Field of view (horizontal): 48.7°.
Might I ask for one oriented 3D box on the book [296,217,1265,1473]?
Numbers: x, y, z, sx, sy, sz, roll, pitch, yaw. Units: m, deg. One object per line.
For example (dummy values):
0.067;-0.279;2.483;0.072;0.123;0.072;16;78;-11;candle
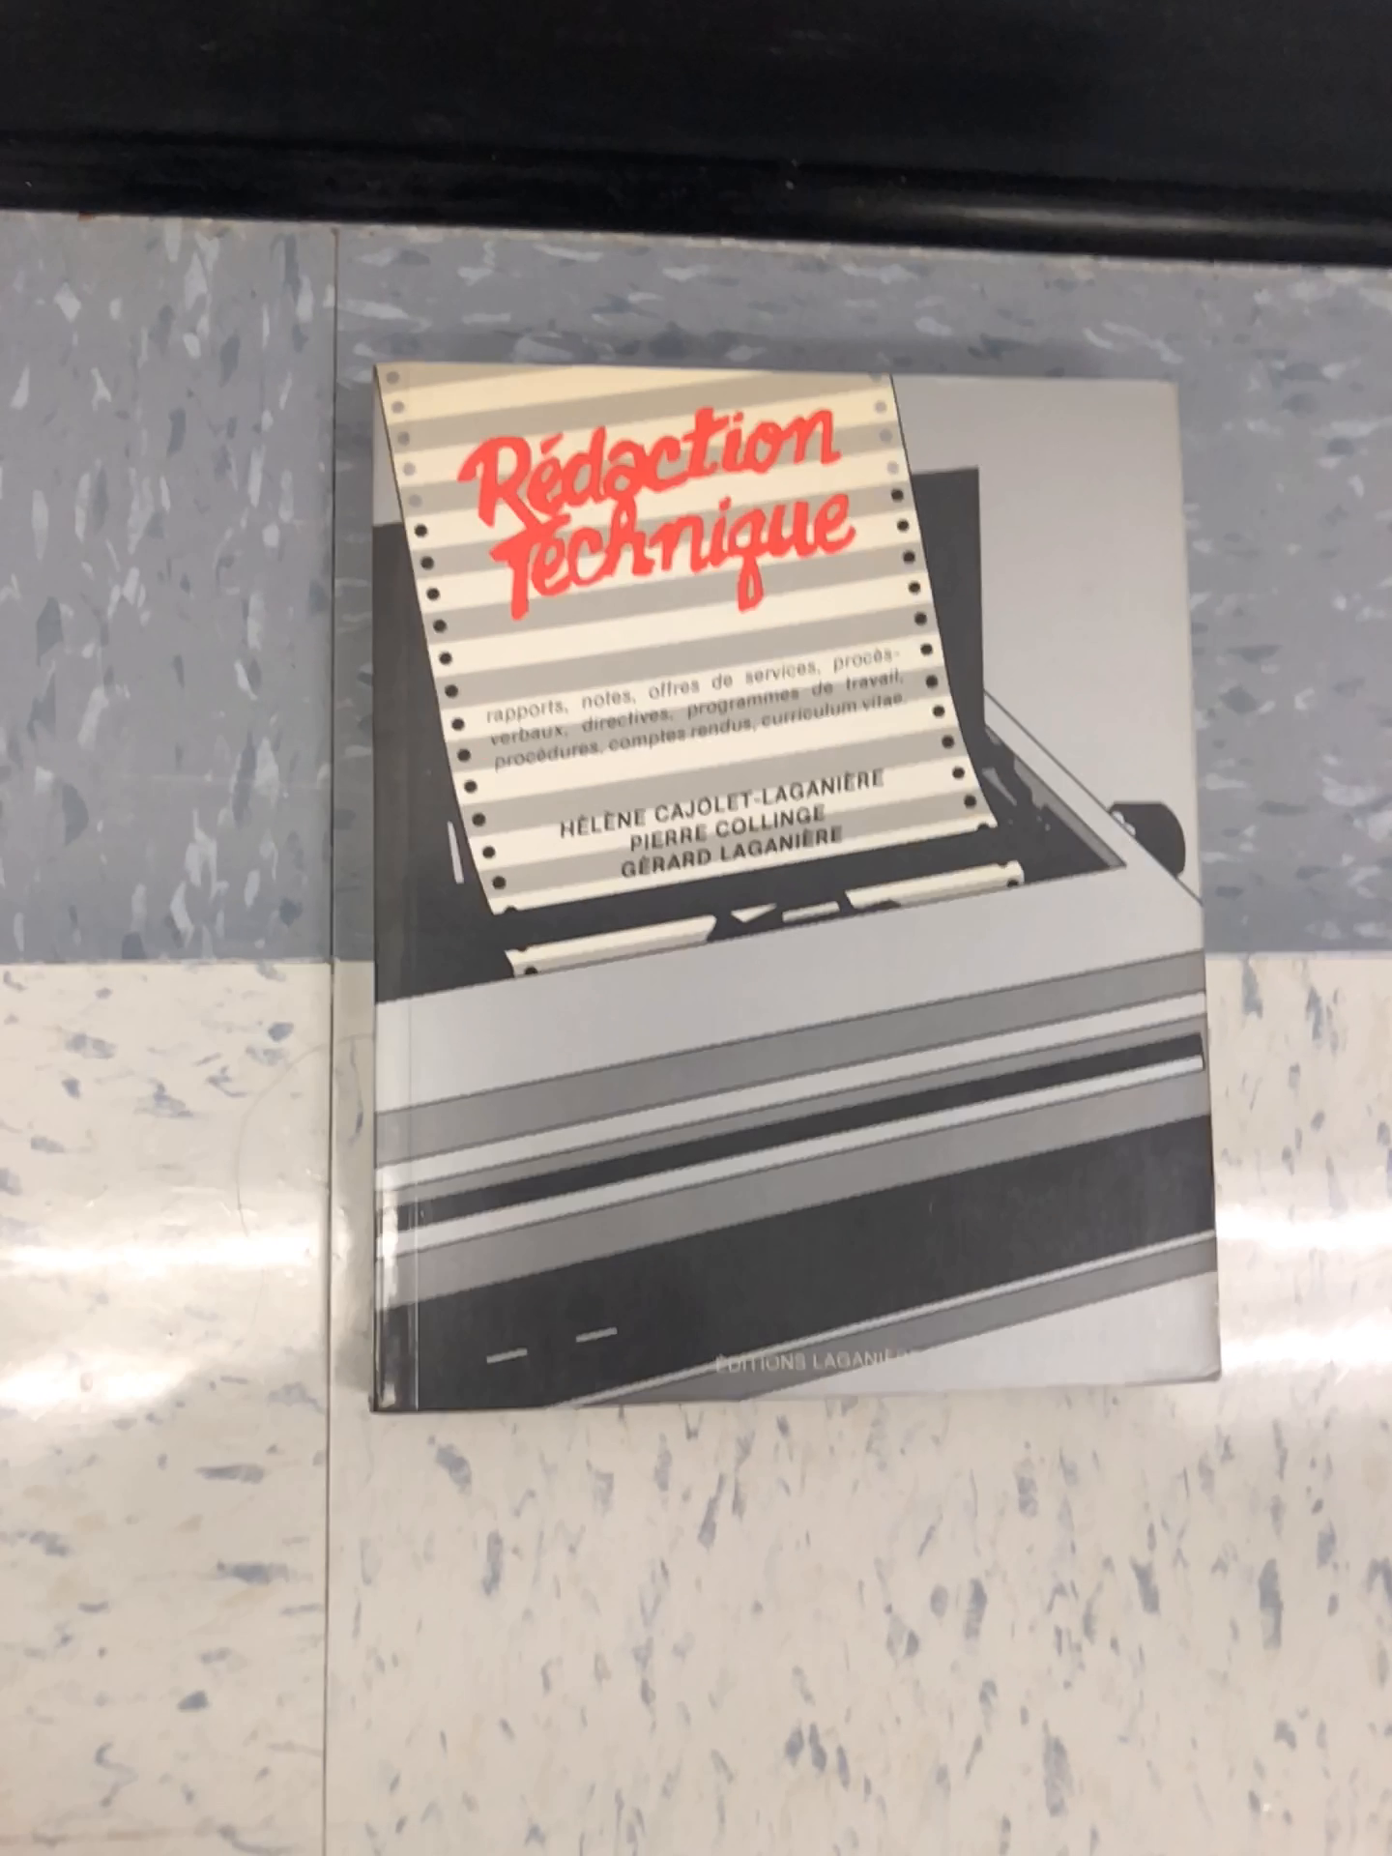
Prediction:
0.013;-0.018;0.296;0.170;0.040;0.220;-1;85;-6;book
